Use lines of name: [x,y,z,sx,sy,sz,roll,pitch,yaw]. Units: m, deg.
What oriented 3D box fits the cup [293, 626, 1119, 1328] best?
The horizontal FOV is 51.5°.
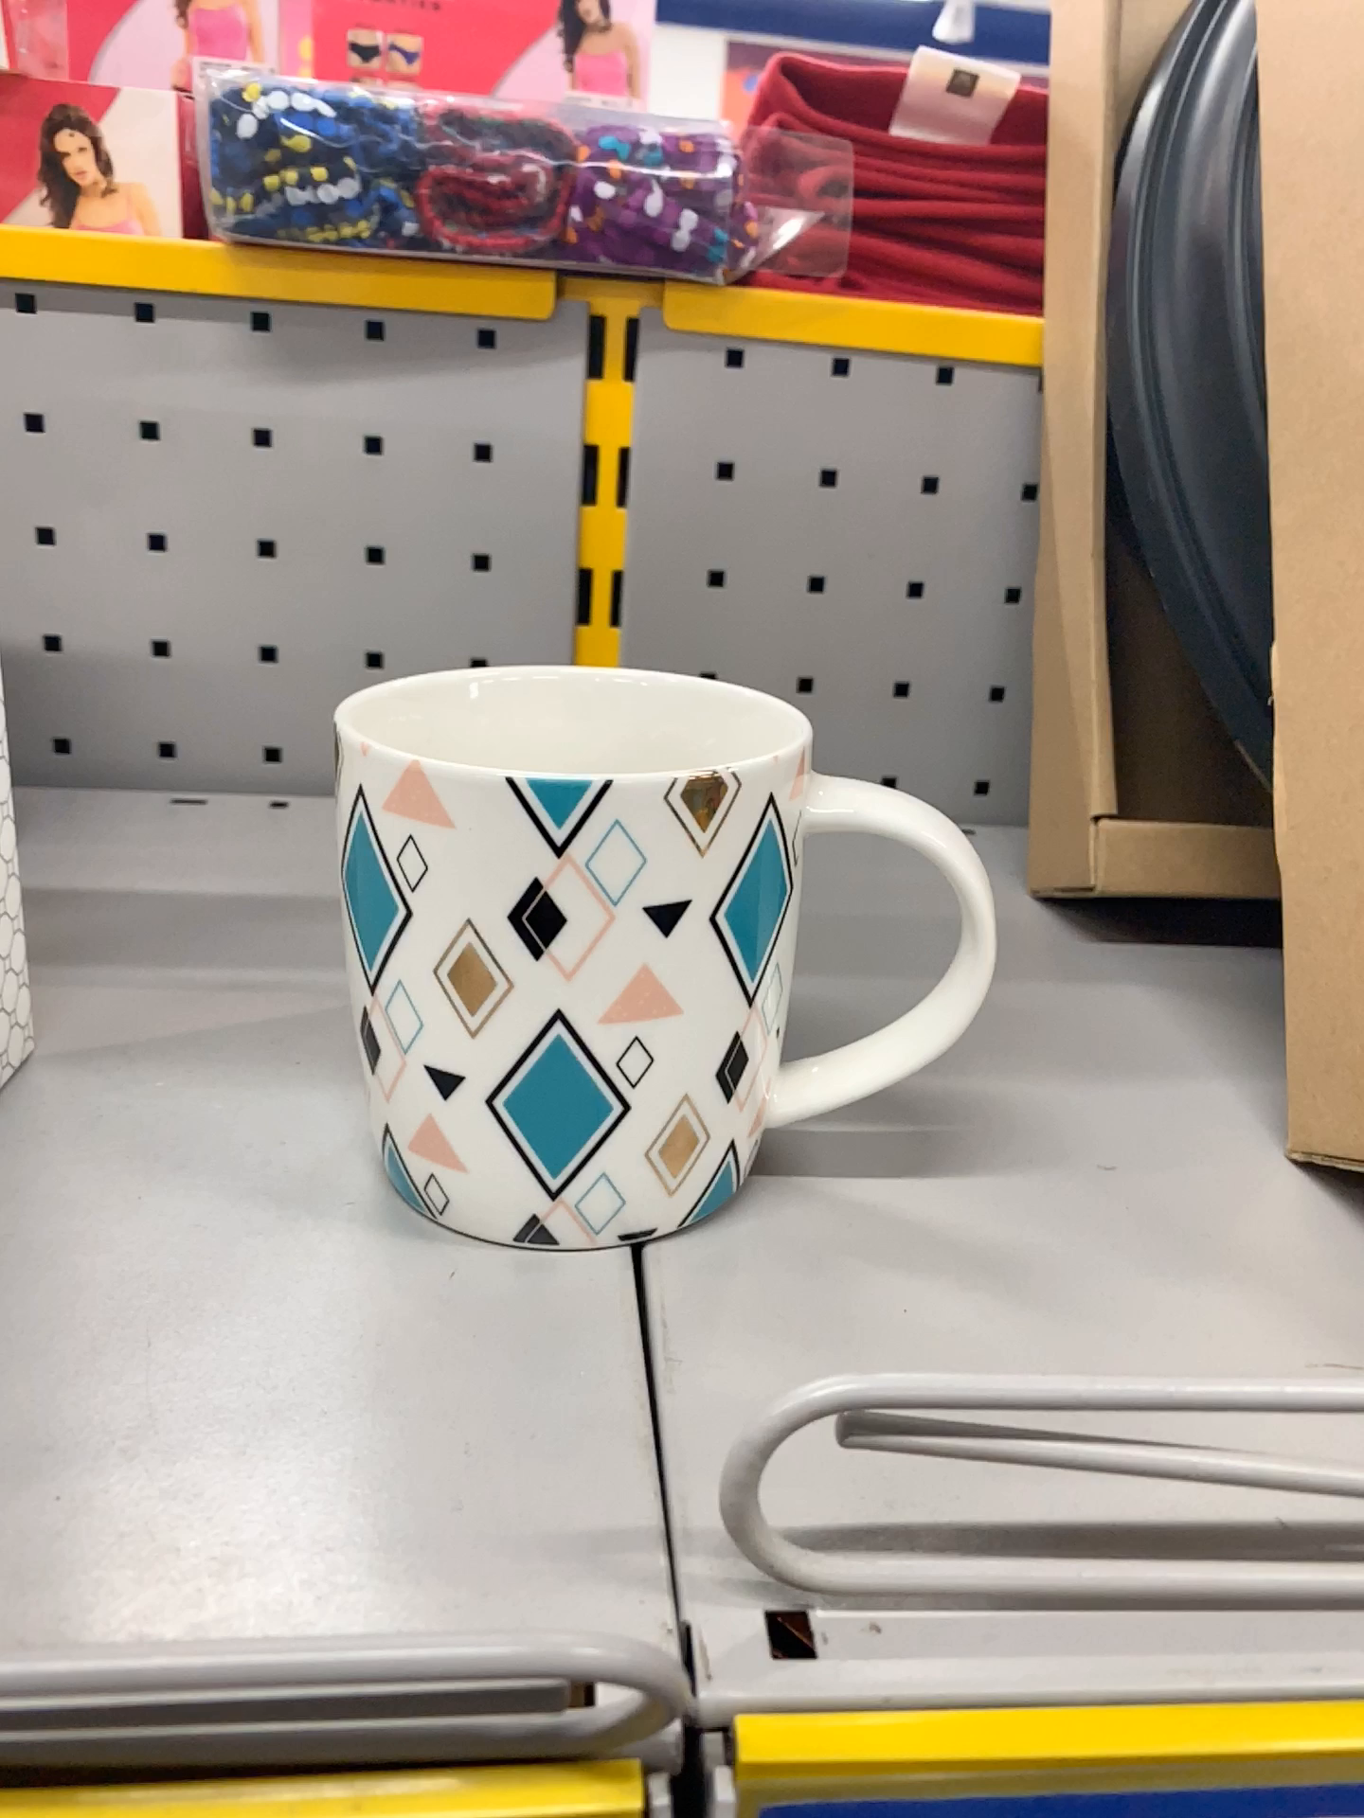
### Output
cup: [0.001,0.005,0.268,0.120,0.090,0.100,5,21,0]
